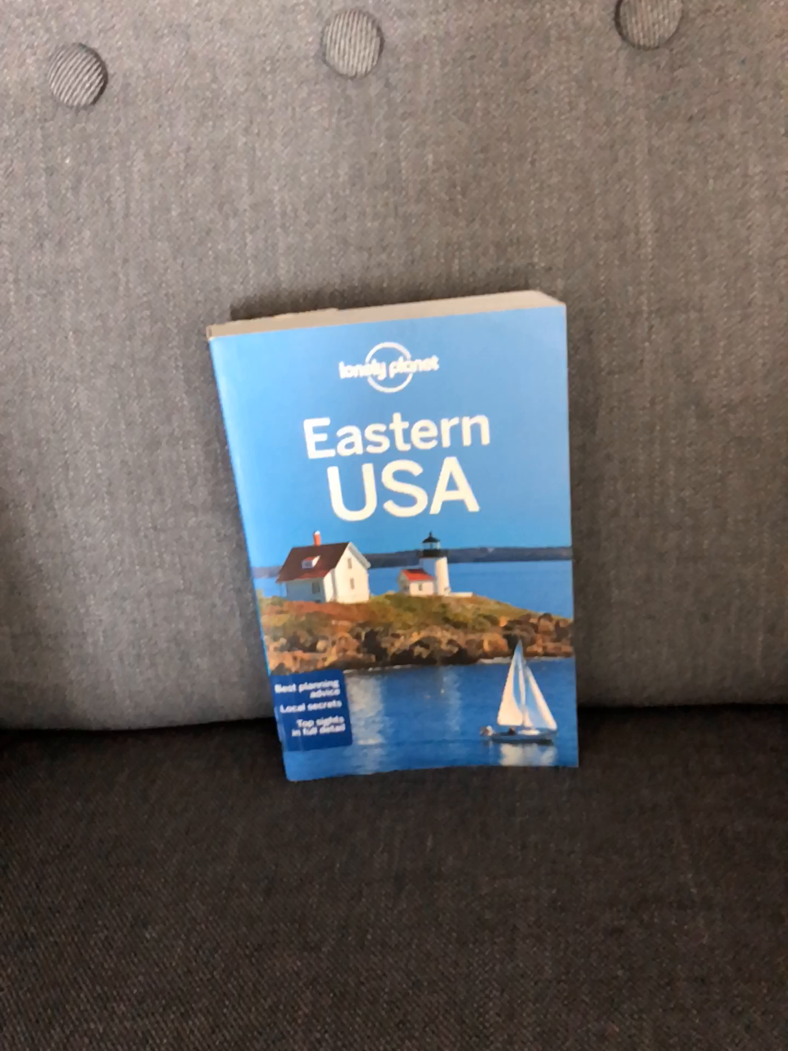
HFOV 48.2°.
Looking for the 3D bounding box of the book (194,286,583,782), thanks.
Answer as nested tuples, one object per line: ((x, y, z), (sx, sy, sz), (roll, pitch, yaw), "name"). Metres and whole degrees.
((0.006, 0.012, 0.365), (0.134, 0.200, 0.039), (-3, 22, 8), "book")
